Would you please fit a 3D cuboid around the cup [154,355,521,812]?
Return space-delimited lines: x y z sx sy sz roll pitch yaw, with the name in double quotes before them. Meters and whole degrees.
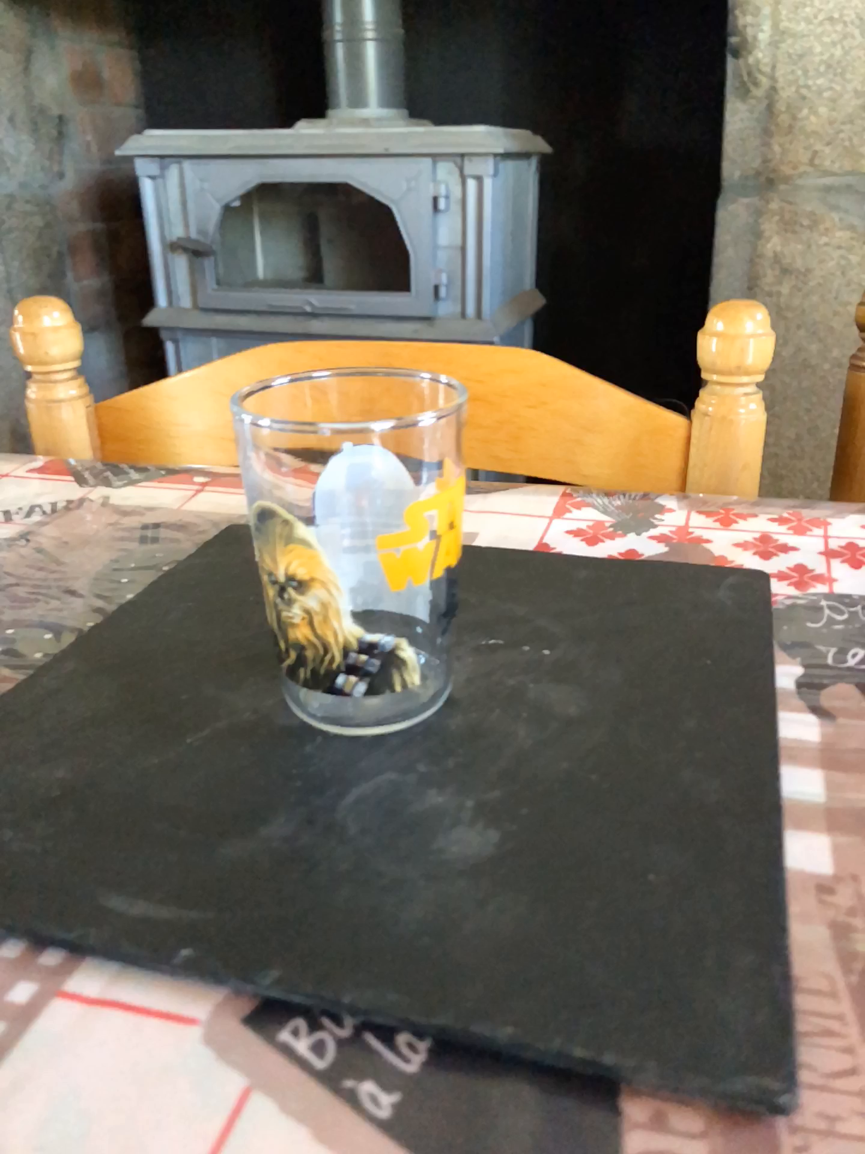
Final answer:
"cup" -0.025 -0.004 0.274 0.070 0.099 0.070 -1 23 0
